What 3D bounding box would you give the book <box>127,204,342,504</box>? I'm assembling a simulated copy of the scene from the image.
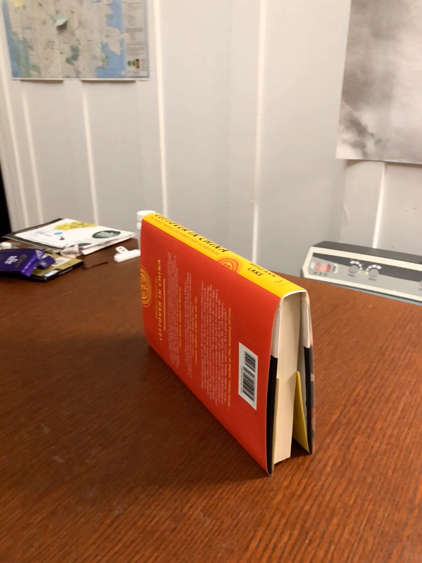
[{"bbox_3d":[0.000,0.043,0.451,0.060,0.179,0.261,-12,26,-28],"label":"book"}]
